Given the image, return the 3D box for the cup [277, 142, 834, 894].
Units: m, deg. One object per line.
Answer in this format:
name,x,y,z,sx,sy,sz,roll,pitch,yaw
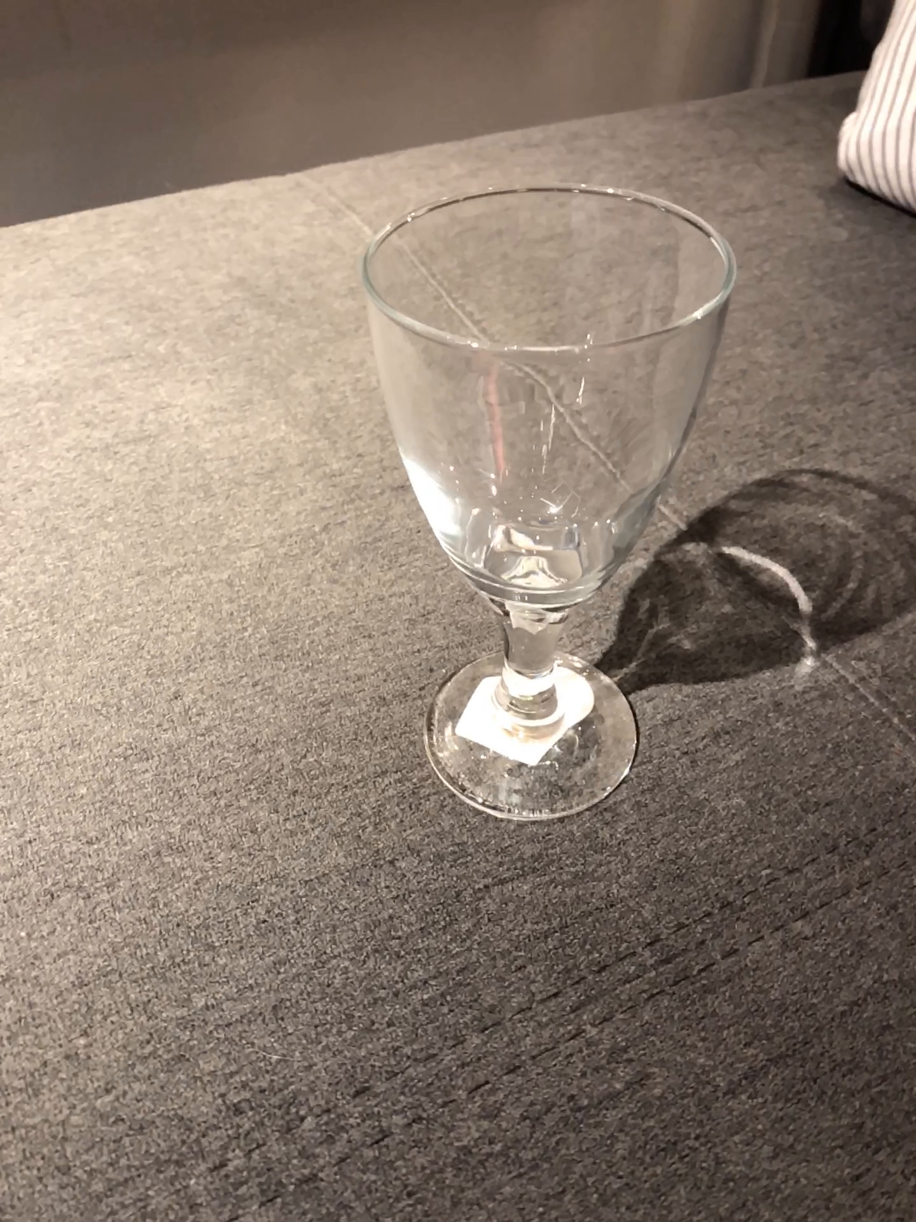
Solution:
cup,0.023,-0.022,0.288,0.090,0.169,0.090,0,44,0
